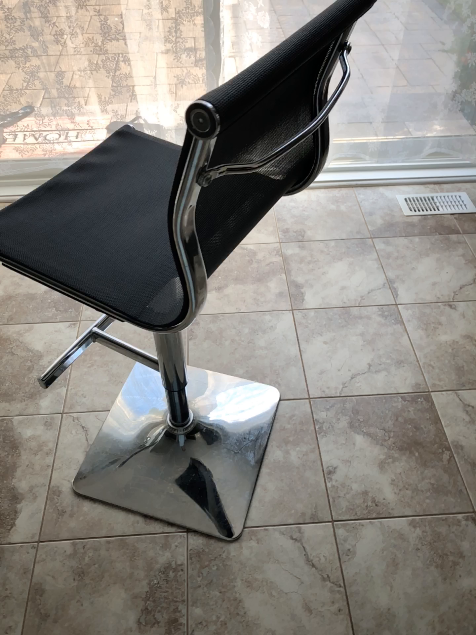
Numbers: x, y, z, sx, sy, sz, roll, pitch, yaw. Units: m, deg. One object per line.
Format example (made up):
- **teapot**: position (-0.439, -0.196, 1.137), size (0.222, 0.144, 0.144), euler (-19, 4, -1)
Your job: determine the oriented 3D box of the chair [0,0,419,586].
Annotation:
- **chair**: position (-0.152, -0.064, 0.955), size (0.551, 0.977, 0.541), euler (25, 52, 21)
